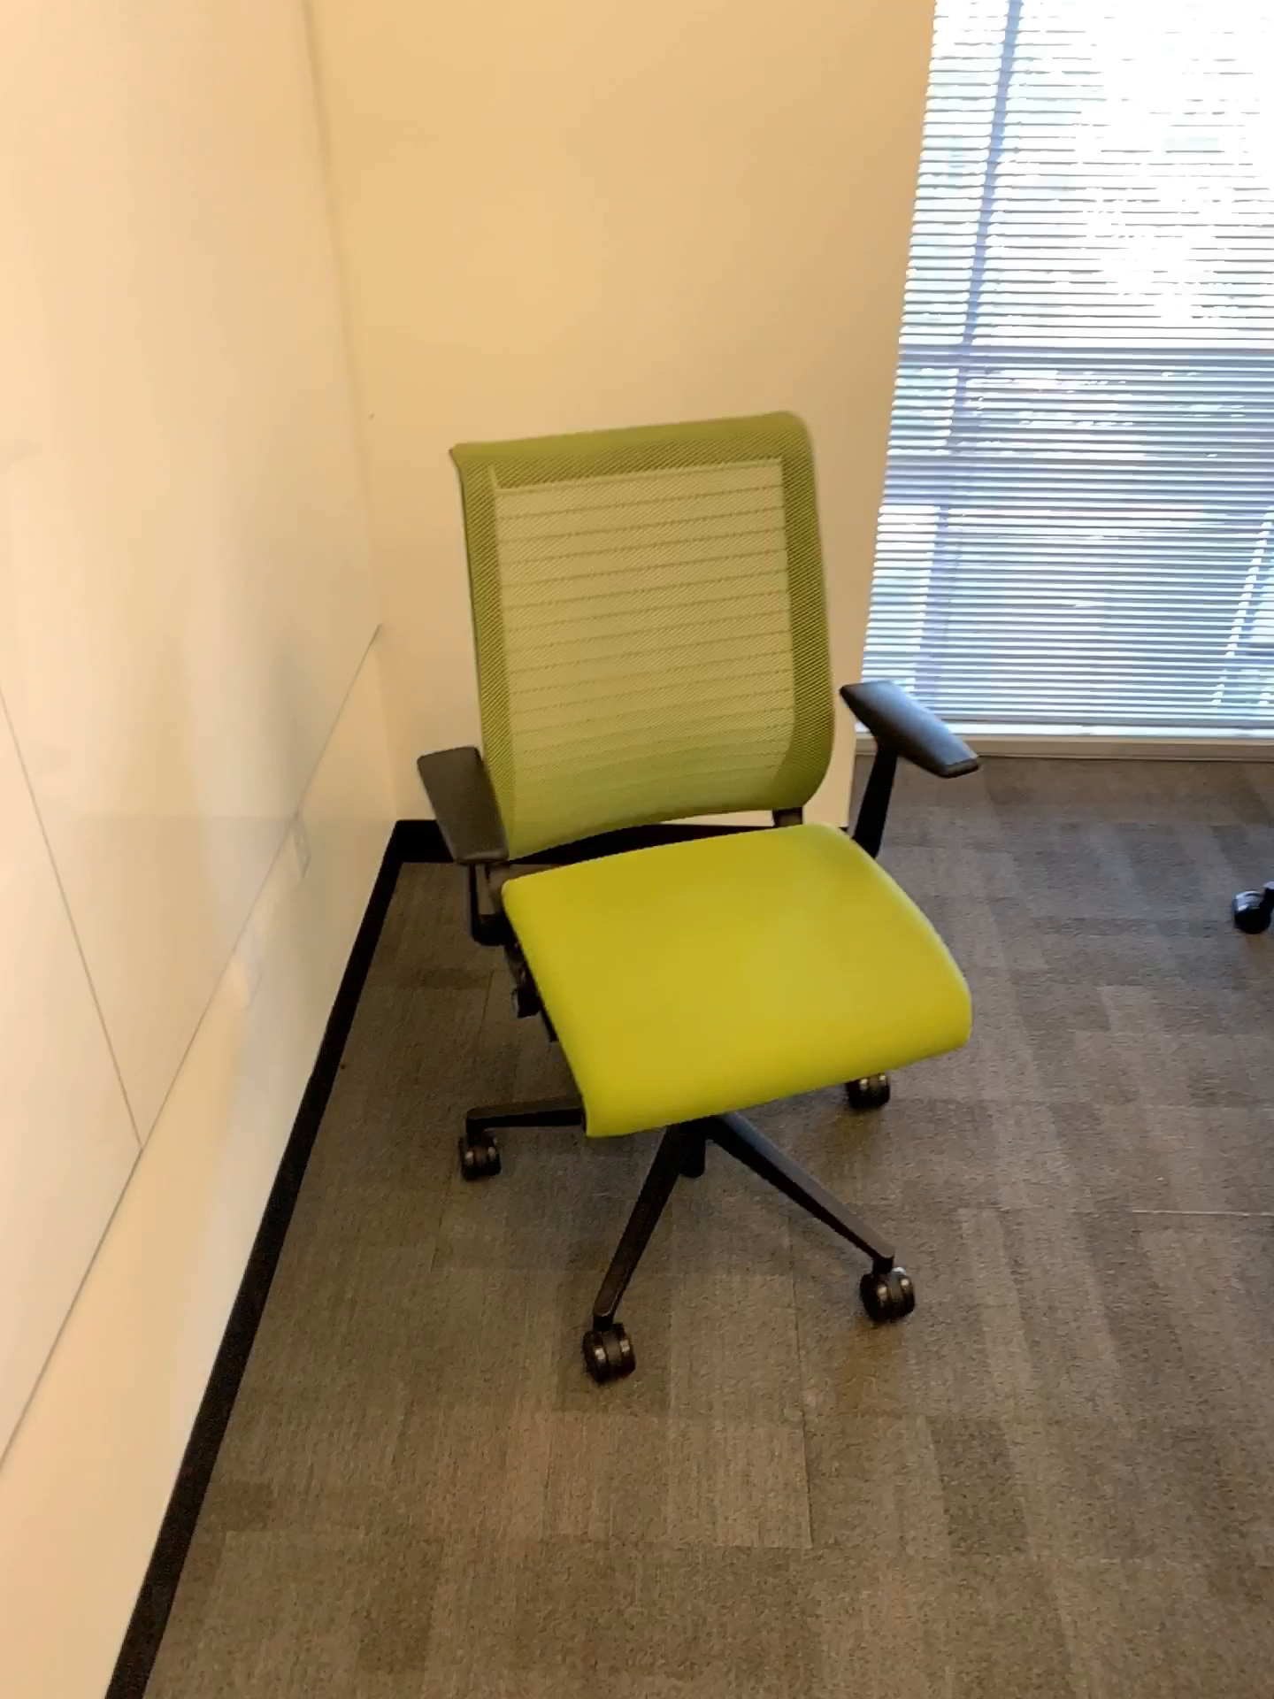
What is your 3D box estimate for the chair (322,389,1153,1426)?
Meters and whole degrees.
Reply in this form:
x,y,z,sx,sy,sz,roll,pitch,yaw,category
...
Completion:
x,y,z,sx,sy,sz,roll,pitch,yaw,category
0.035,0.028,1.762,0.700,0.994,0.845,-10,36,-13,chair
